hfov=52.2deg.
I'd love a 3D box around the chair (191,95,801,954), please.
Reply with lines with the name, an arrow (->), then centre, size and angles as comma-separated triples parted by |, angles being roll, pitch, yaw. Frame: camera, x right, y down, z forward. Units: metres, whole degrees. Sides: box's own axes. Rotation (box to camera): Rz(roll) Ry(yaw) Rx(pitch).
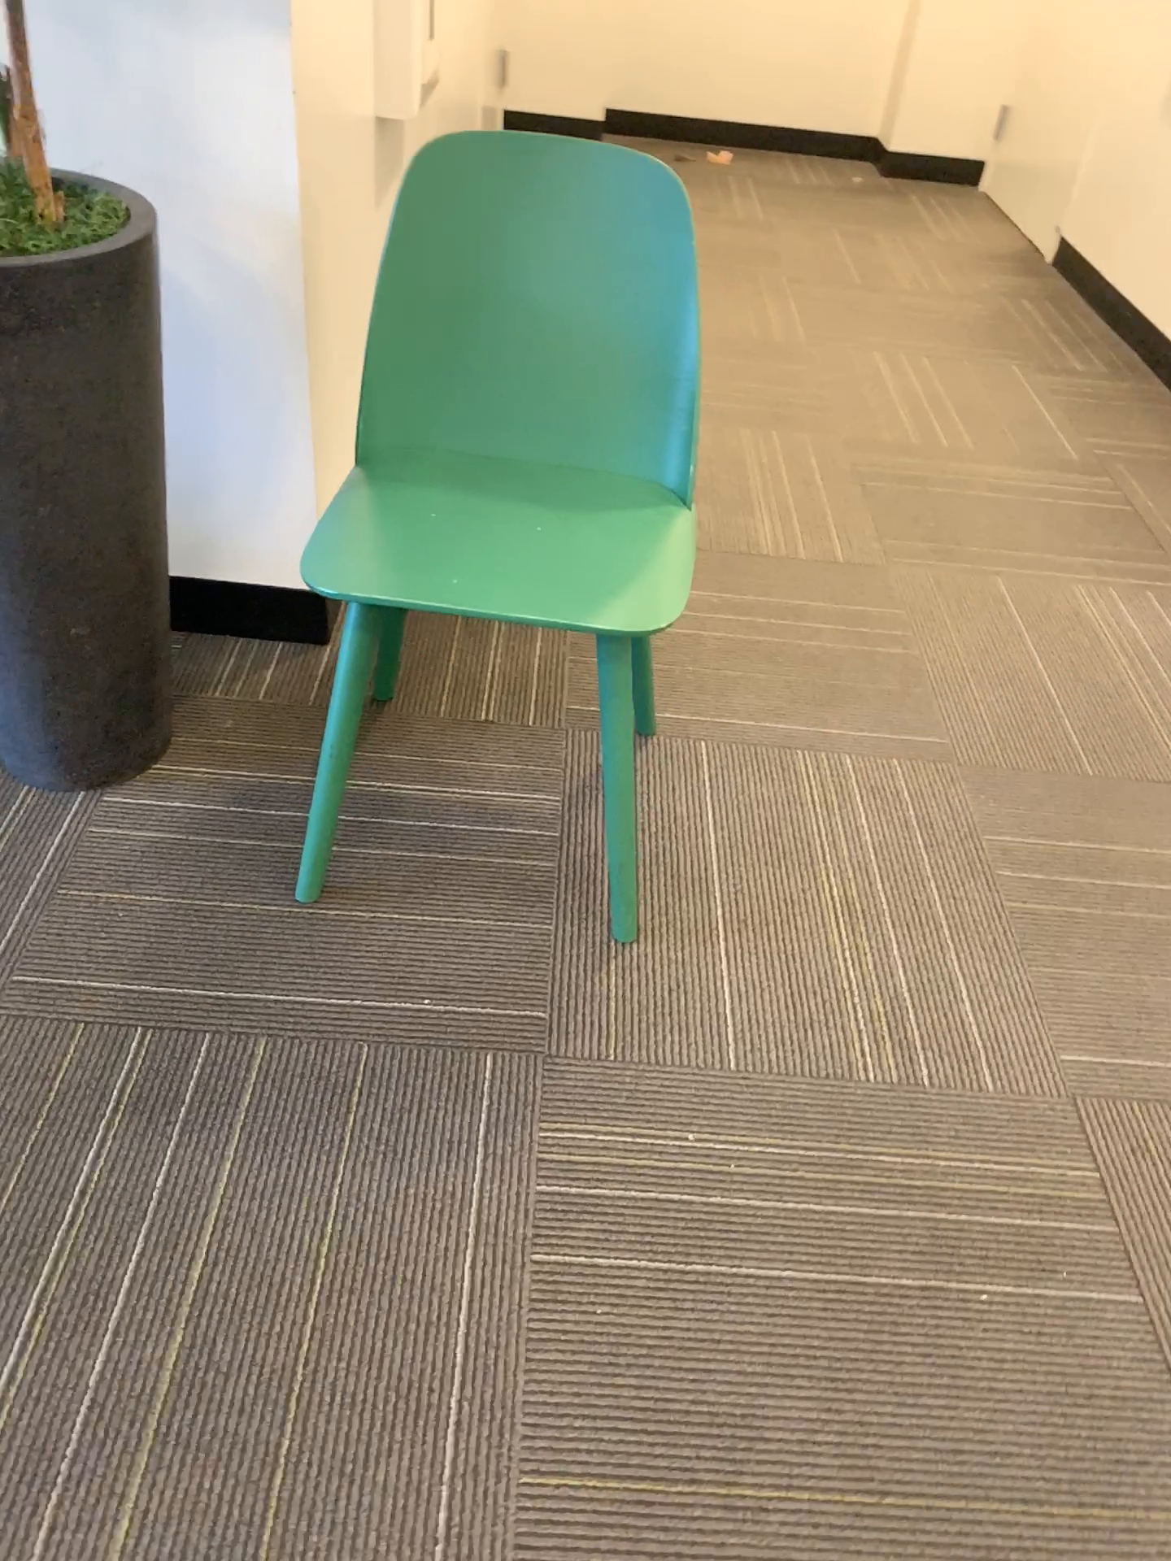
chair -> -0.091, -0.285, 1.388 | 0.480, 0.765, 0.543 | 6, 39, -1
